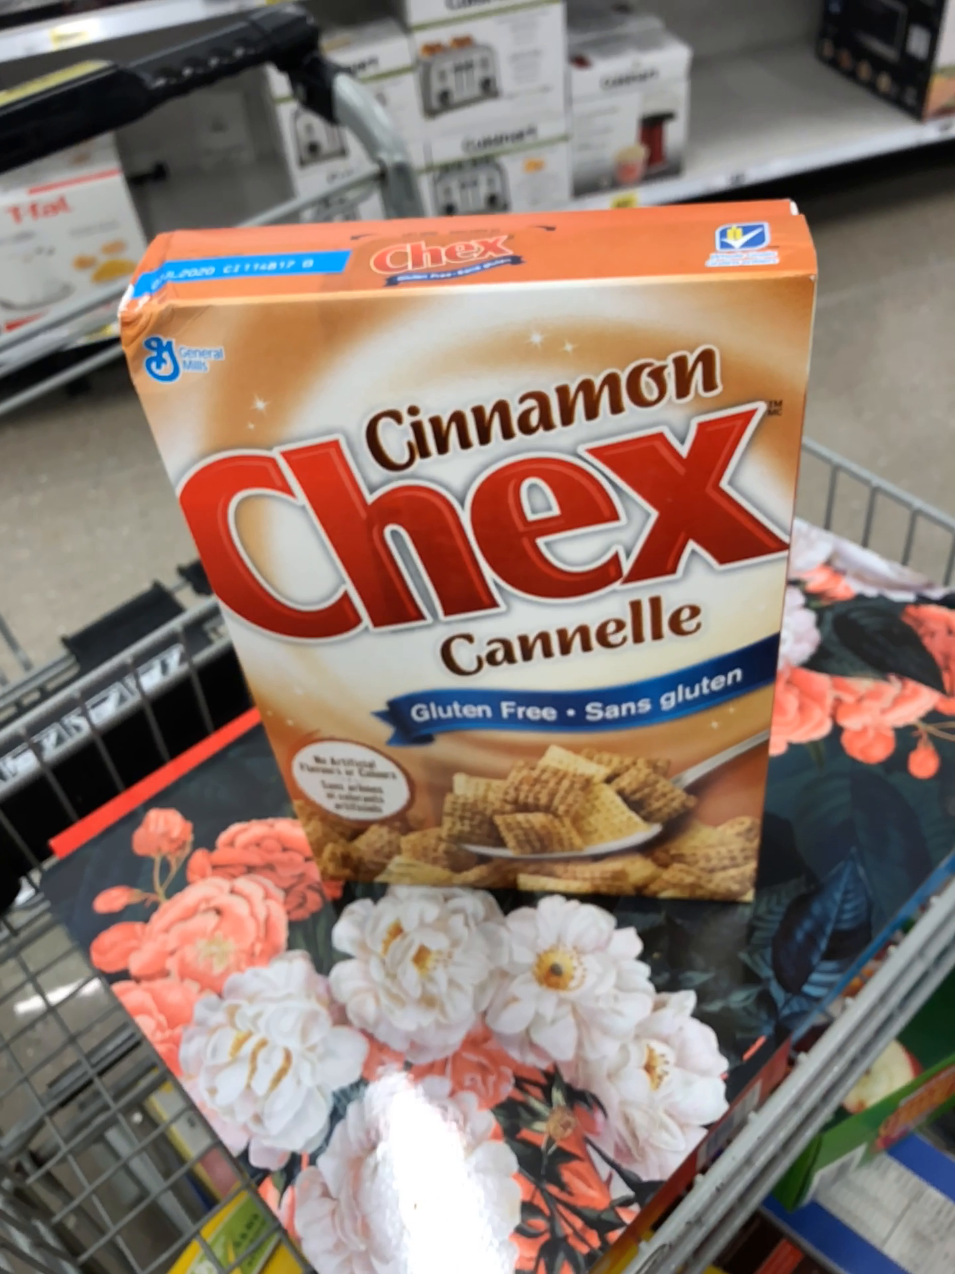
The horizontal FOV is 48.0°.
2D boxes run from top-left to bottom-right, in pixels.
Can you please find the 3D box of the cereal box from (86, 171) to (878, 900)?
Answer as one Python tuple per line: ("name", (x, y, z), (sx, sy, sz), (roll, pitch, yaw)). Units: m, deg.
("cereal box", (0.009, -0.014, 0.376), (0.200, 0.259, 0.060), (0, 40, 6))
